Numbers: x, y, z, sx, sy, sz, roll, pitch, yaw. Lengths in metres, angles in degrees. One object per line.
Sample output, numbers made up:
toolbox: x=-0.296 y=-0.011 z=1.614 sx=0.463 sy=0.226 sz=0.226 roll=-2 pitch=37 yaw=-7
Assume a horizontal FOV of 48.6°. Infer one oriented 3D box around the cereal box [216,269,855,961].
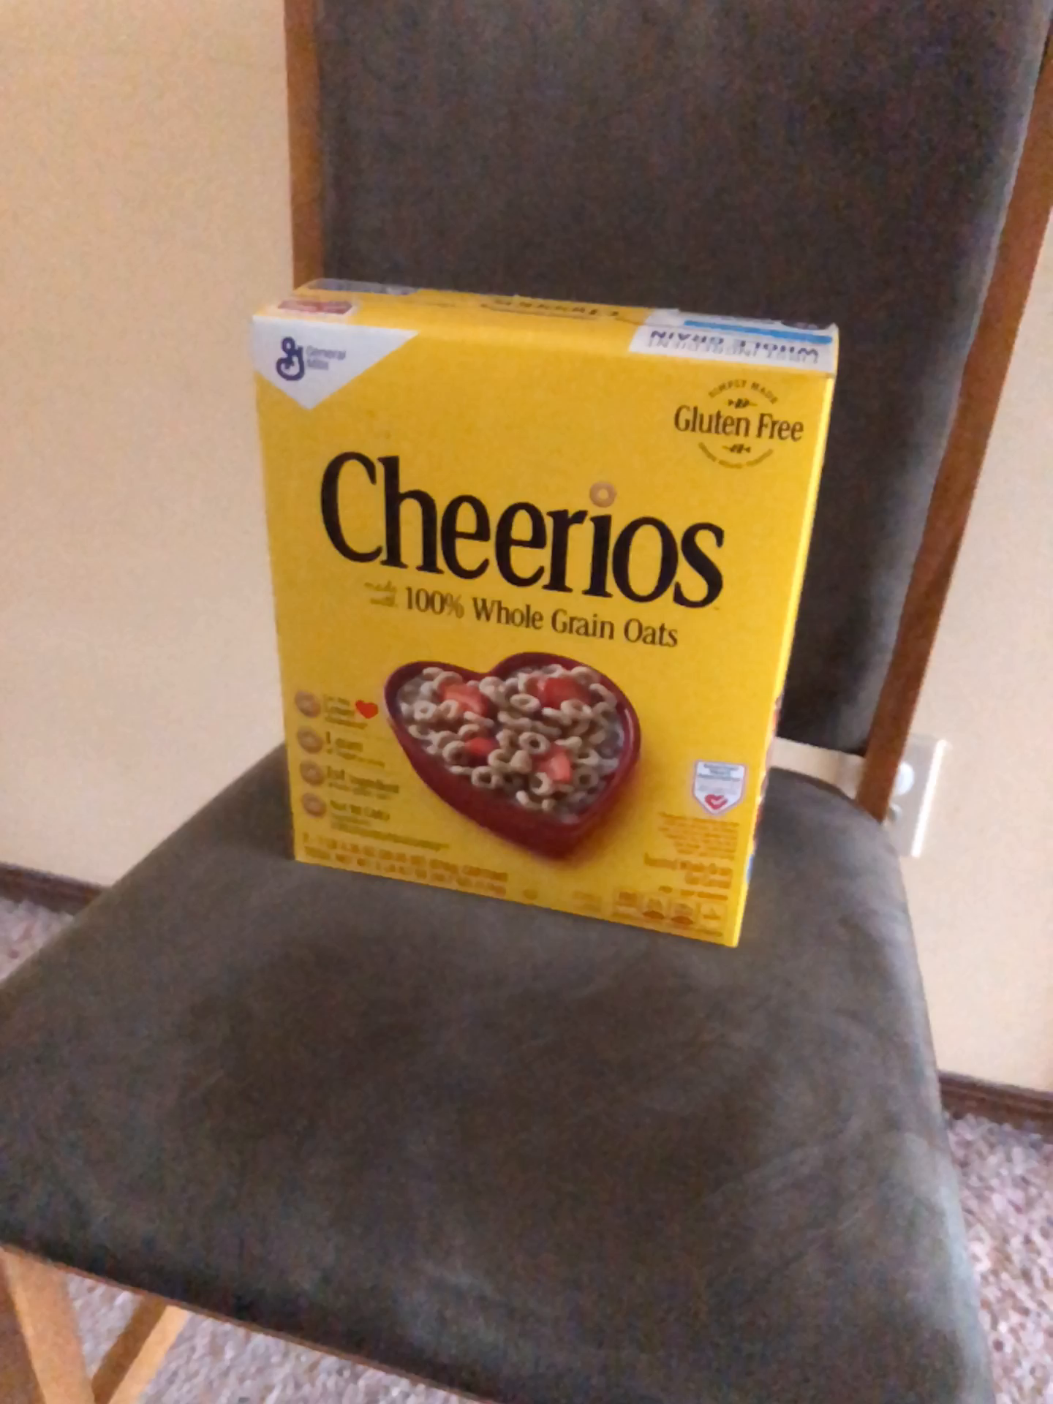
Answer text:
cereal box: x=0.003 y=-0.039 z=0.579 sx=0.260 sy=0.299 sz=0.090 roll=9 pitch=32 yaw=12
